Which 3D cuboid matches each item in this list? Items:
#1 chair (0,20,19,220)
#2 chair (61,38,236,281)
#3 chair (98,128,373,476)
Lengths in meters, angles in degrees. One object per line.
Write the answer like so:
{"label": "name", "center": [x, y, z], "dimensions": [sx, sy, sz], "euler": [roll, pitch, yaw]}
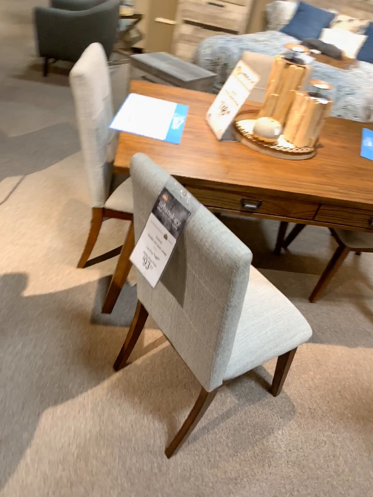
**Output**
{"label": "chair", "center": [-1.244, -0.633, 1.919], "dimensions": [0.598, 0.743, 0.526], "euler": [-10, 45, -27]}
{"label": "chair", "center": [-0.209, -0.373, 1.782], "dimensions": [0.597, 0.912, 0.517], "euler": [5, 40, -9]}
{"label": "chair", "center": [0.123, 0.169, 1.245], "dimensions": [0.628, 0.912, 0.486], "euler": [-17, 48, -32]}
